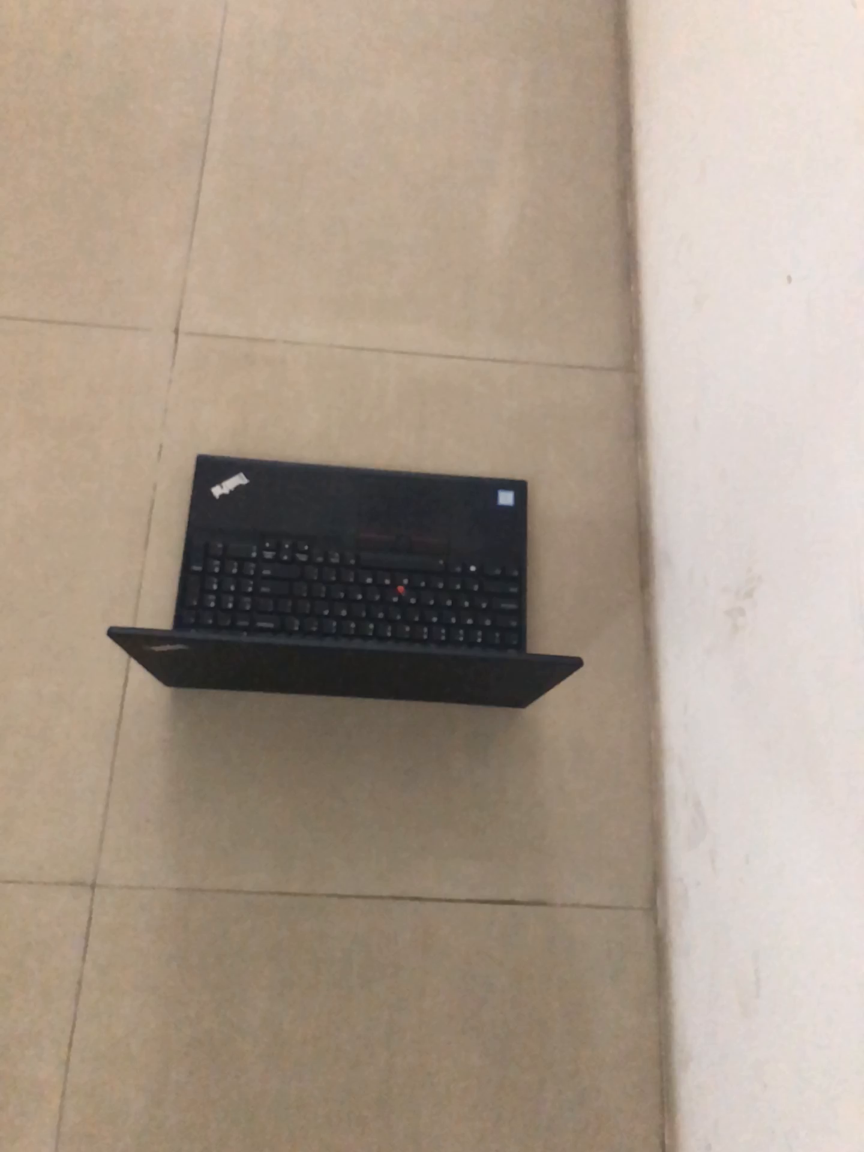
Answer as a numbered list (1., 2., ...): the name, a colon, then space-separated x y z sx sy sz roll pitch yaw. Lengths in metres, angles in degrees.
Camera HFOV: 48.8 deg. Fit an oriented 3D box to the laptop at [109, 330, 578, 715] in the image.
1. laptop: -0.069 -0.031 0.881 0.353 0.241 0.255 5 71 -5
